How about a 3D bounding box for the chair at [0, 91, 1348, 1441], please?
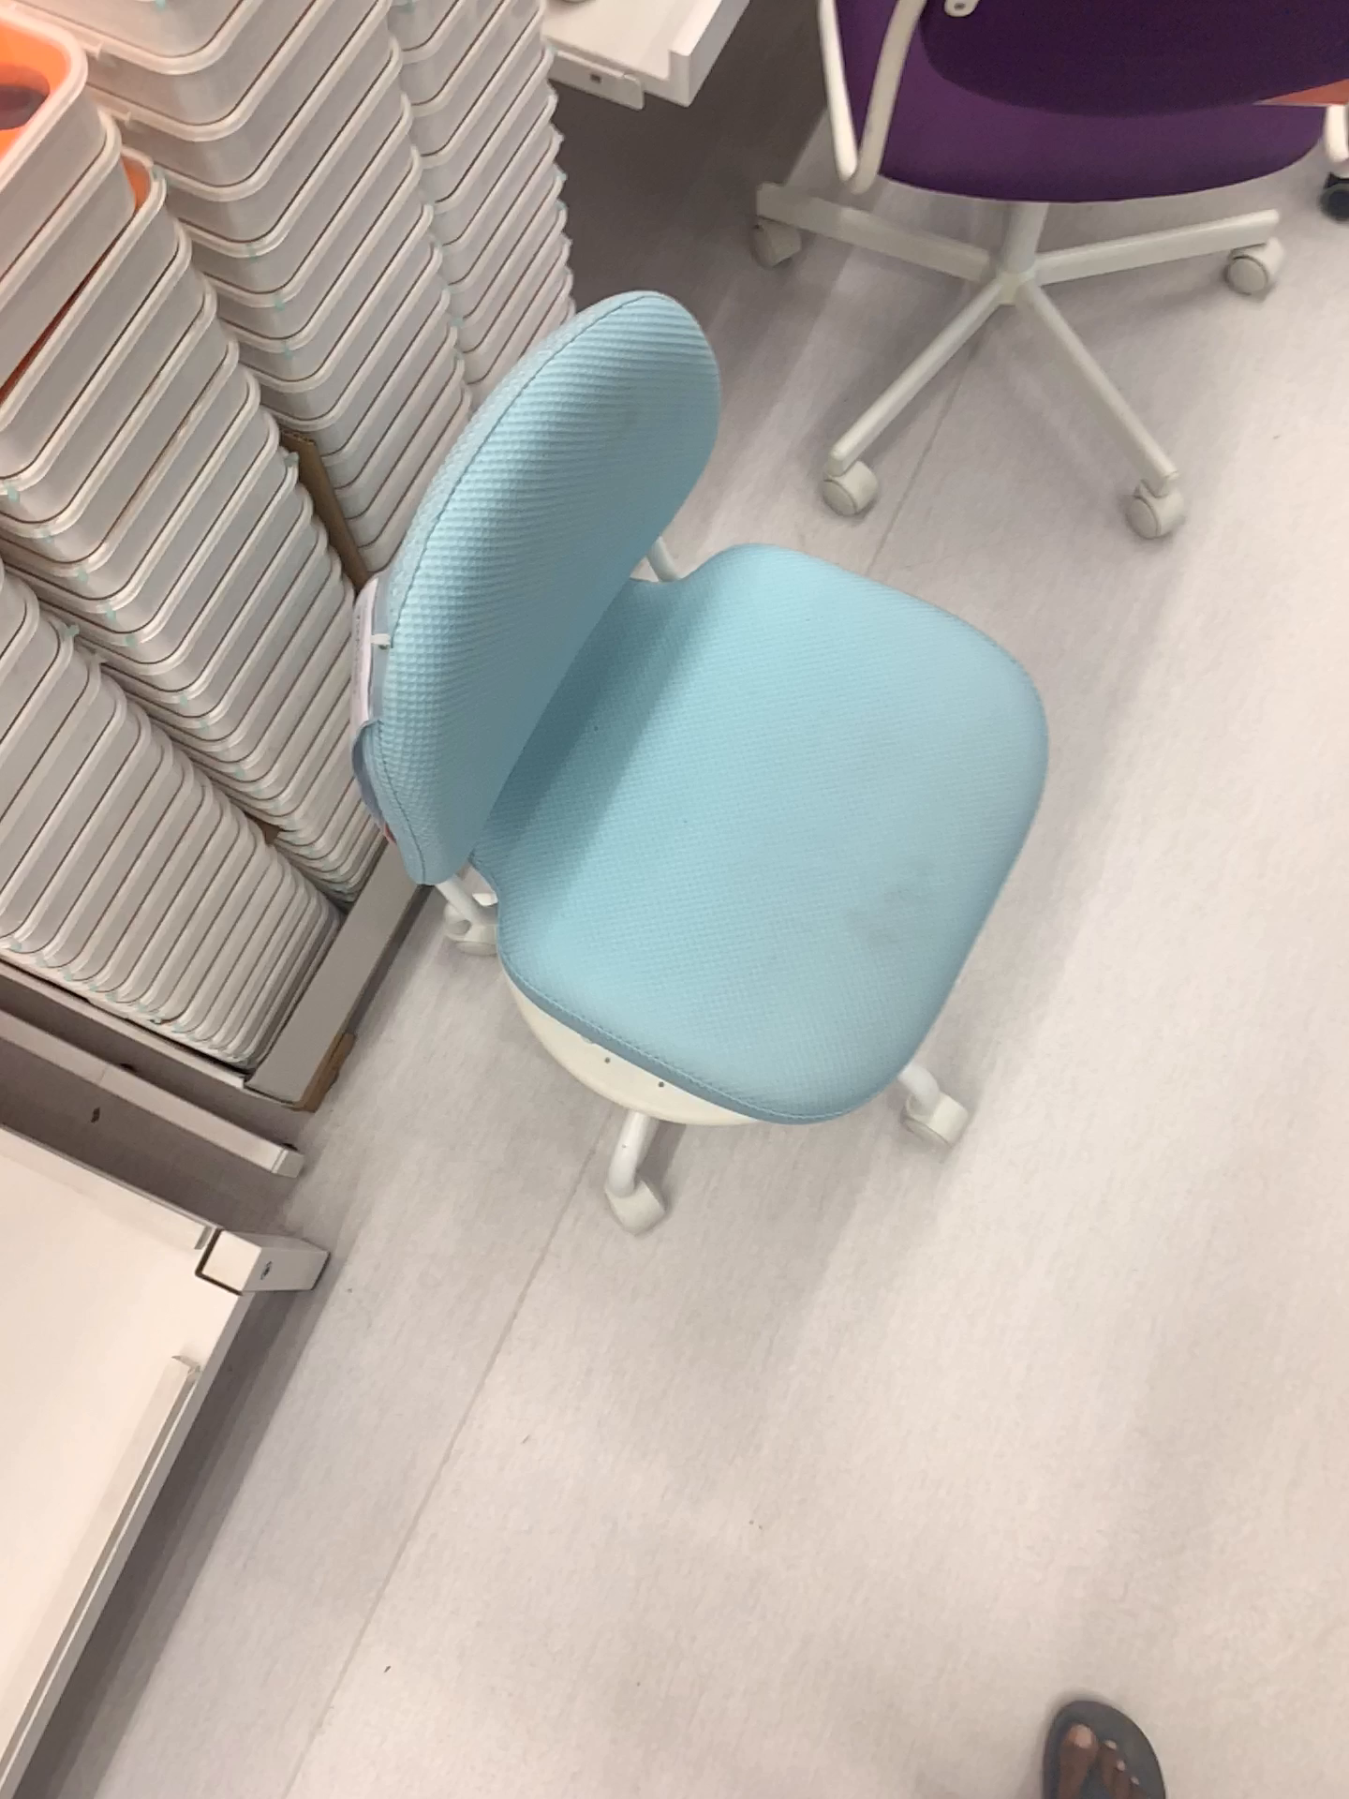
[{"bbox_3d":[0.026,-0.024,1.094,0.610,0.750,0.570,23,77,8],"label":"chair"}]
